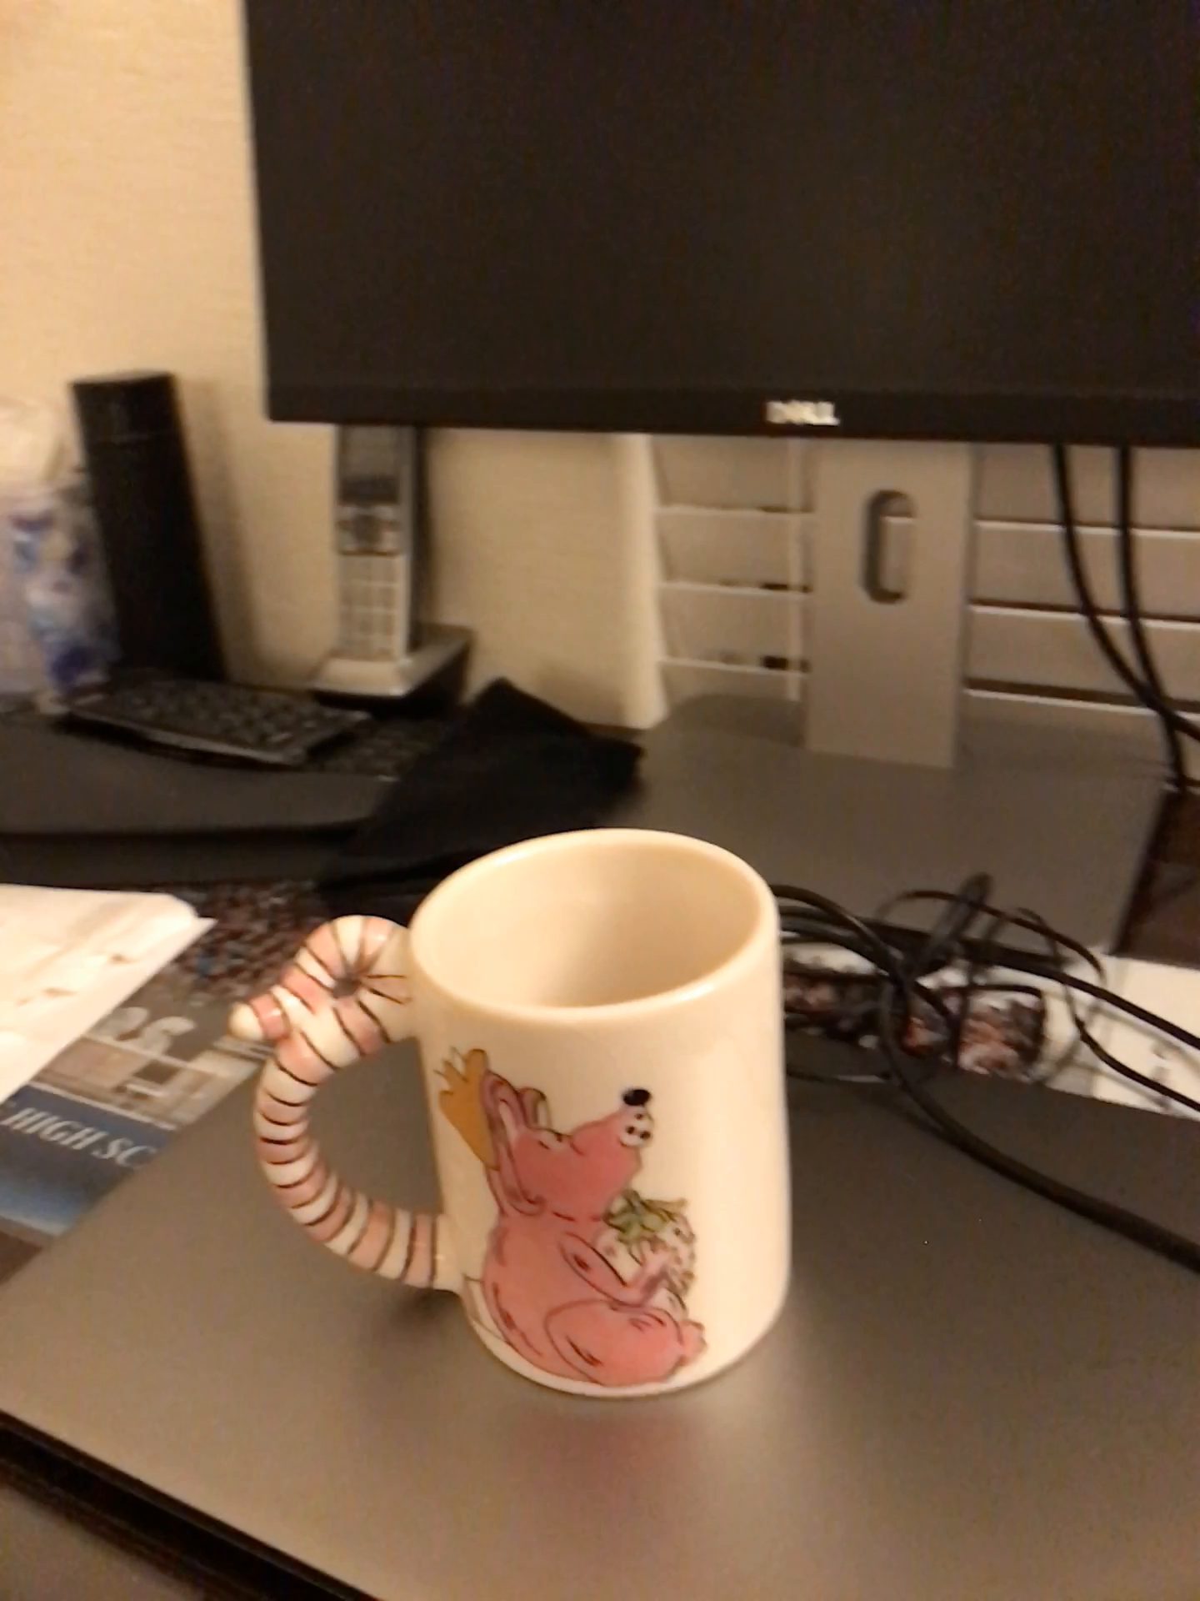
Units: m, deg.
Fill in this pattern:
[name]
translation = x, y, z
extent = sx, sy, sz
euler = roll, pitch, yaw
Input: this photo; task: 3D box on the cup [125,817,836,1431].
[cup]
translation = -0.016, 0.066, 0.292
extent = 0.130, 0.099, 0.081
euler = -1, 23, 7
